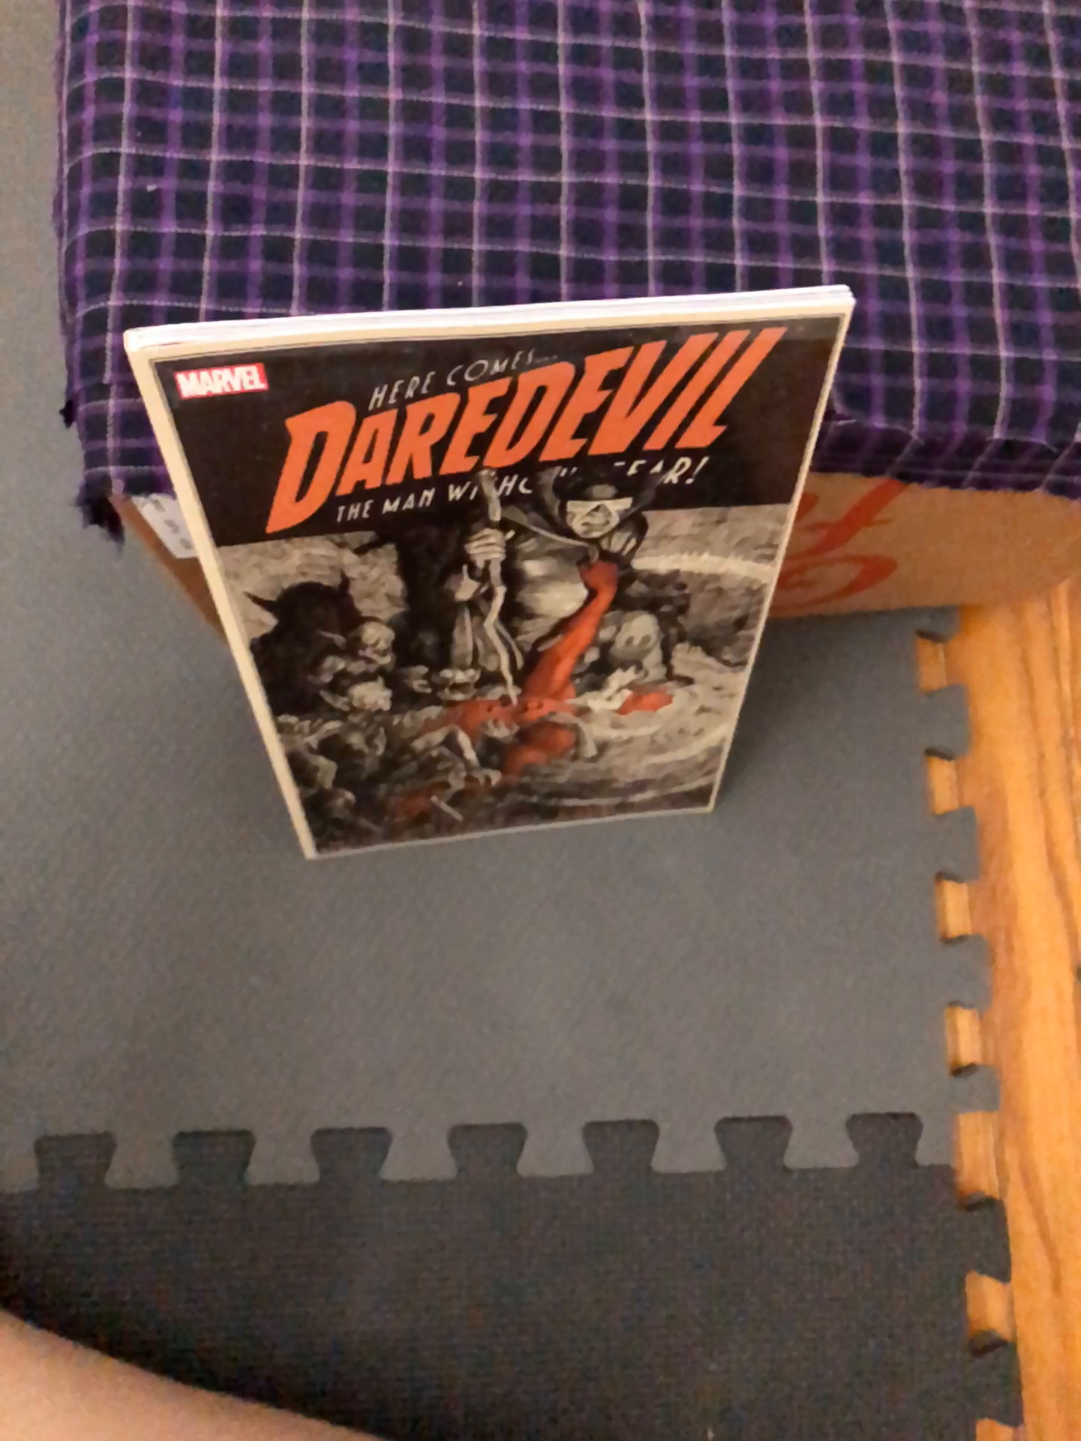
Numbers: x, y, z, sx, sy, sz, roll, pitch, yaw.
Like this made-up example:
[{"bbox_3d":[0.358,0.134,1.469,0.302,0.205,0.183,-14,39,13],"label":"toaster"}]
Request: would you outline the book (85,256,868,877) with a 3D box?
[{"bbox_3d":[-0.013,-0.022,0.347,0.160,0.229,0.020,-7,58,-5],"label":"book"}]
